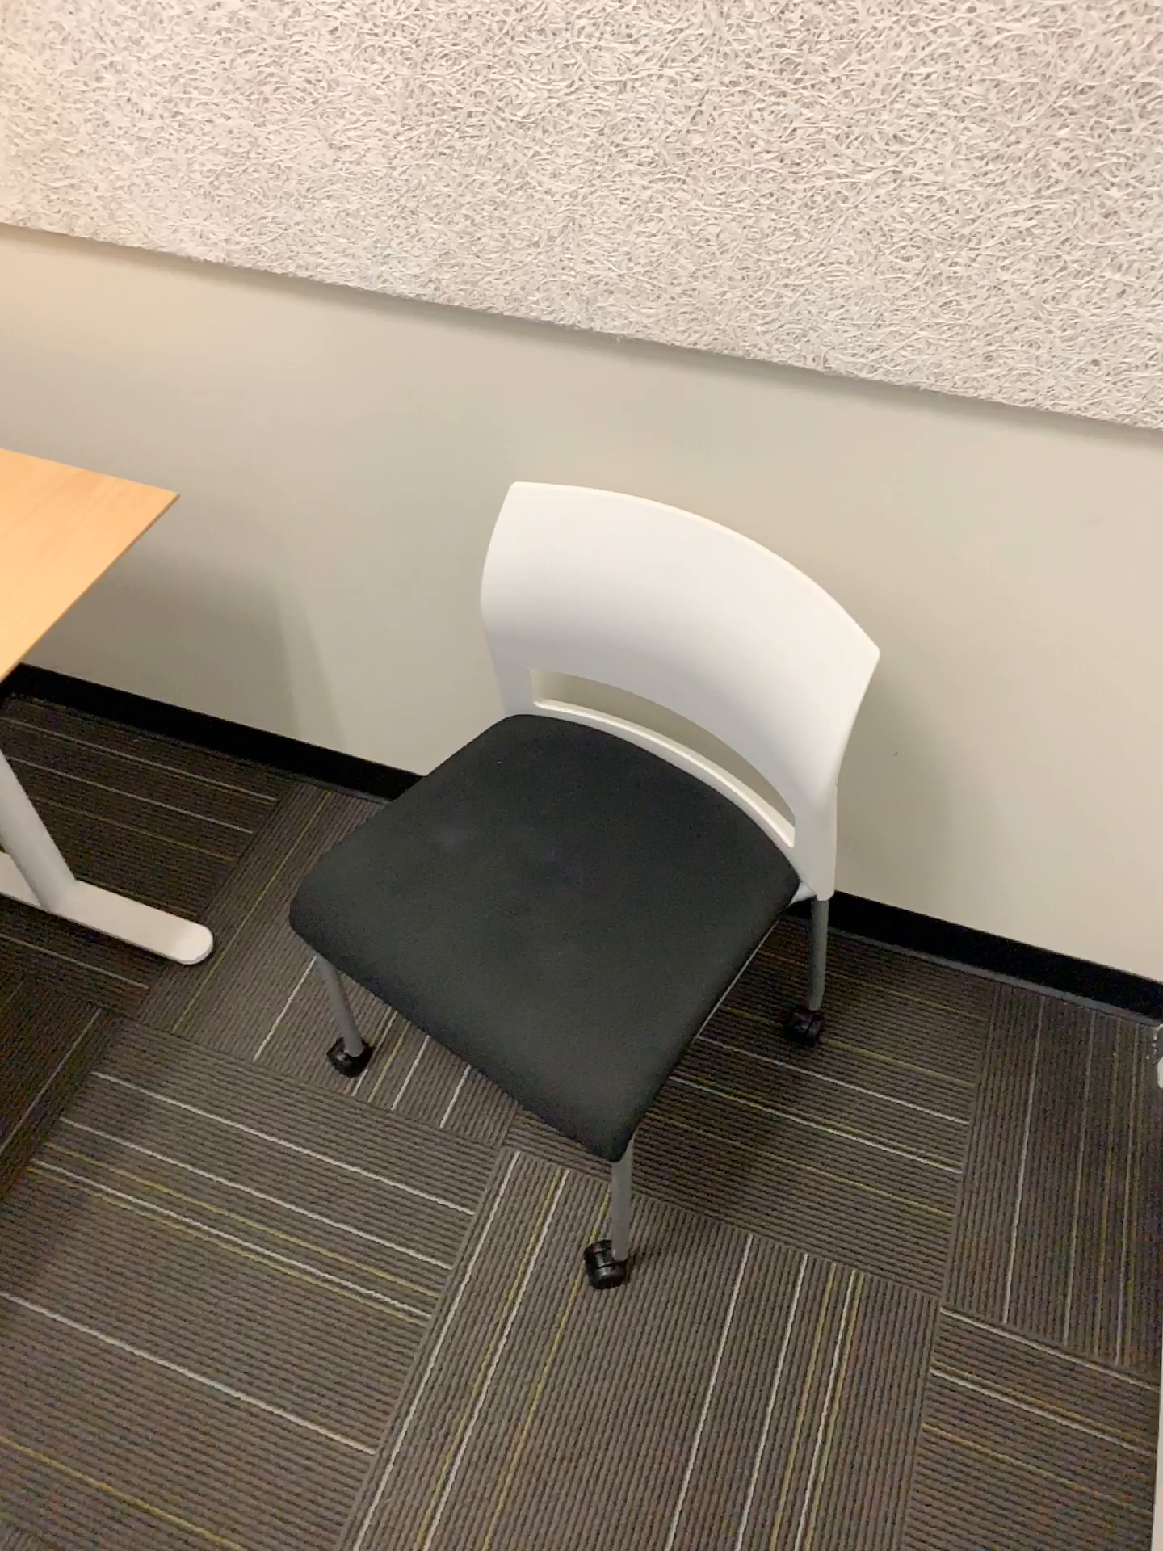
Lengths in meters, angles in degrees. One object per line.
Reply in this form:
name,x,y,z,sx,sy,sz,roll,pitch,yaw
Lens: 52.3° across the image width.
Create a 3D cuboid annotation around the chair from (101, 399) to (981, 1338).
chair,-0.017,0.120,1.459,0.622,0.776,0.621,27,55,22
